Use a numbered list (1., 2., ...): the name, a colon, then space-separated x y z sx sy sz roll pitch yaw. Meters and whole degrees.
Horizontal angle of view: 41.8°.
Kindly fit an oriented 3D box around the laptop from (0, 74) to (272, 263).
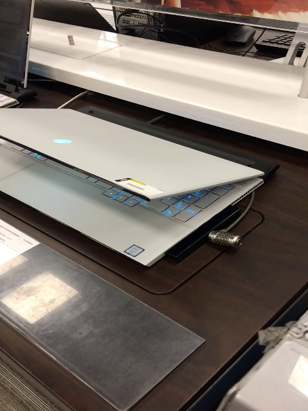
1. laptop: -0.092 -0.085 0.607 0.402 0.101 0.236 26 48 33
